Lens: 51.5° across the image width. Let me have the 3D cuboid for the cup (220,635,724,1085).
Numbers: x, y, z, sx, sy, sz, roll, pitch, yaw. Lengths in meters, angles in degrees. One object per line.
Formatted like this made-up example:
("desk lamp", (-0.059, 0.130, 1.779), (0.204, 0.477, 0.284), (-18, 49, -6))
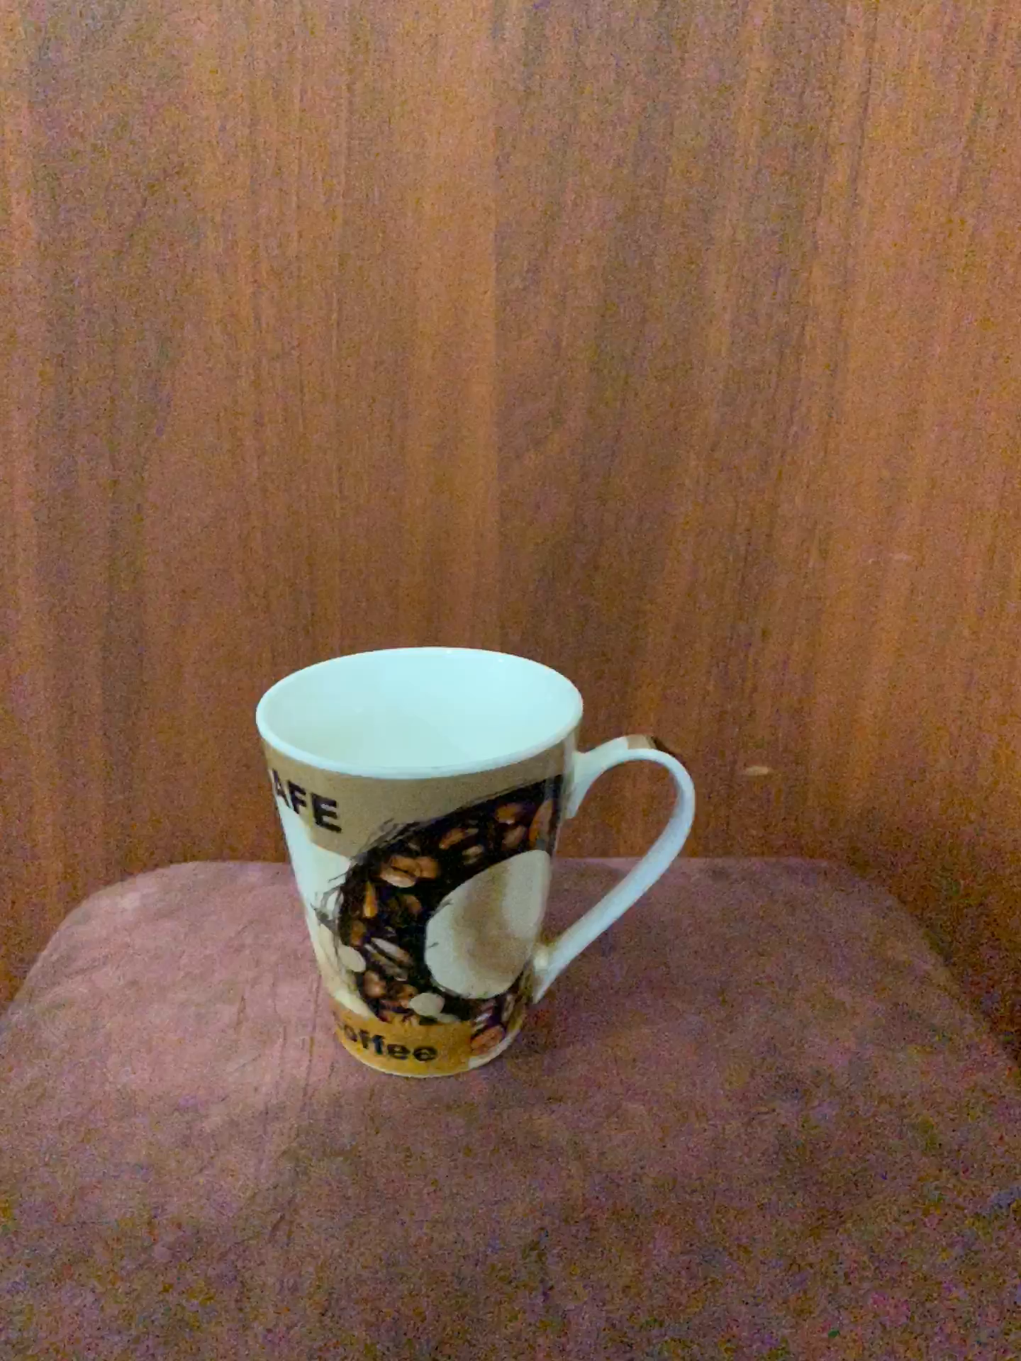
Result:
("cup", (-0.010, 0.046, 0.310), (0.119, 0.092, 0.095), (-1, 20, -1))
